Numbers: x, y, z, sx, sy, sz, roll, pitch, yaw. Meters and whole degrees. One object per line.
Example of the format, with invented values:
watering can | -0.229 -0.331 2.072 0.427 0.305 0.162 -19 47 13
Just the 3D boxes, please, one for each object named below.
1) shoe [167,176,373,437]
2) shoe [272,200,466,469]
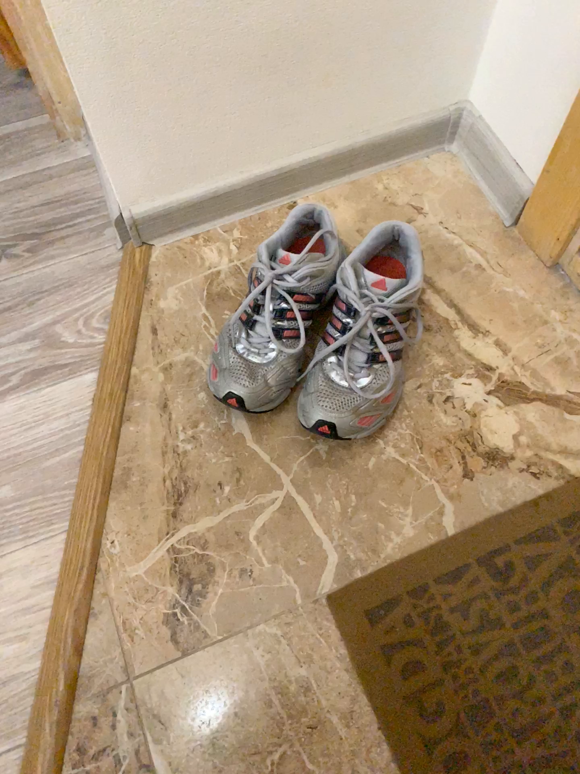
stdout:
shoe | -0.012 -0.088 0.617 0.110 0.090 0.240 21 66 11
shoe | 0.082 -0.058 0.603 0.110 0.090 0.240 20 65 11
